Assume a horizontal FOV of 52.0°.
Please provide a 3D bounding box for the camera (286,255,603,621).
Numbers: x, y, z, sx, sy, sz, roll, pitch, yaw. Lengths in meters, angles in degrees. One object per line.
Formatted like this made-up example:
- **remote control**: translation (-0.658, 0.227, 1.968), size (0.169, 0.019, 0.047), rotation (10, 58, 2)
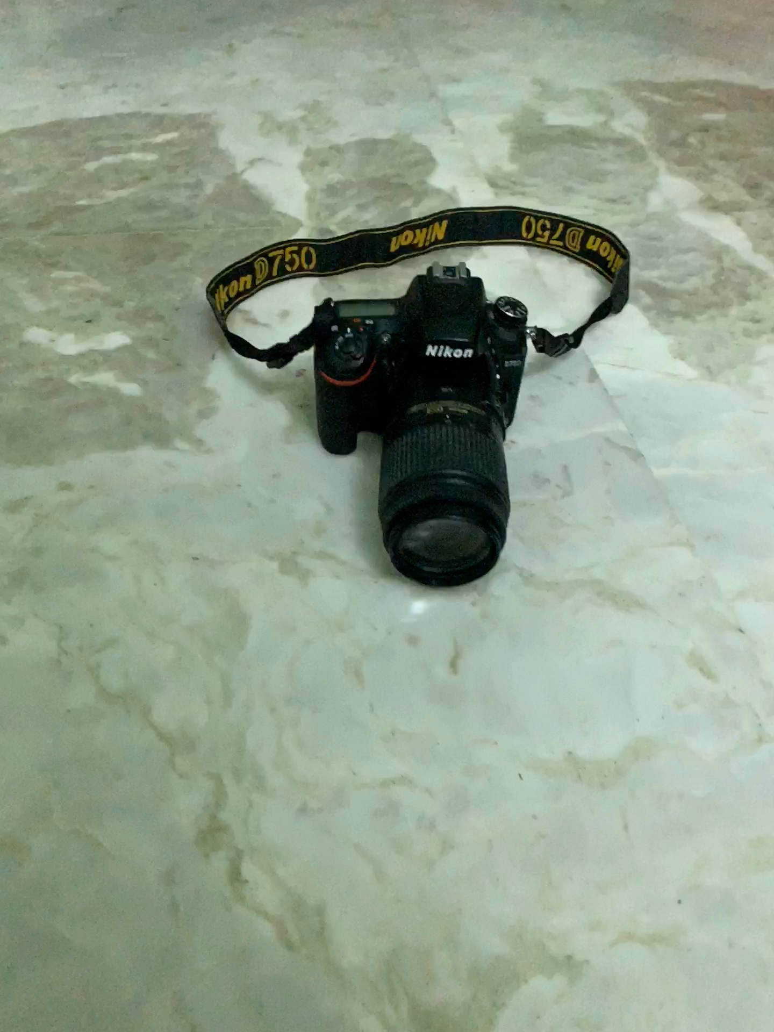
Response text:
- **camera**: translation (0.029, -0.055, 0.489), size (0.150, 0.119, 0.201), rotation (2, 45, 0)
